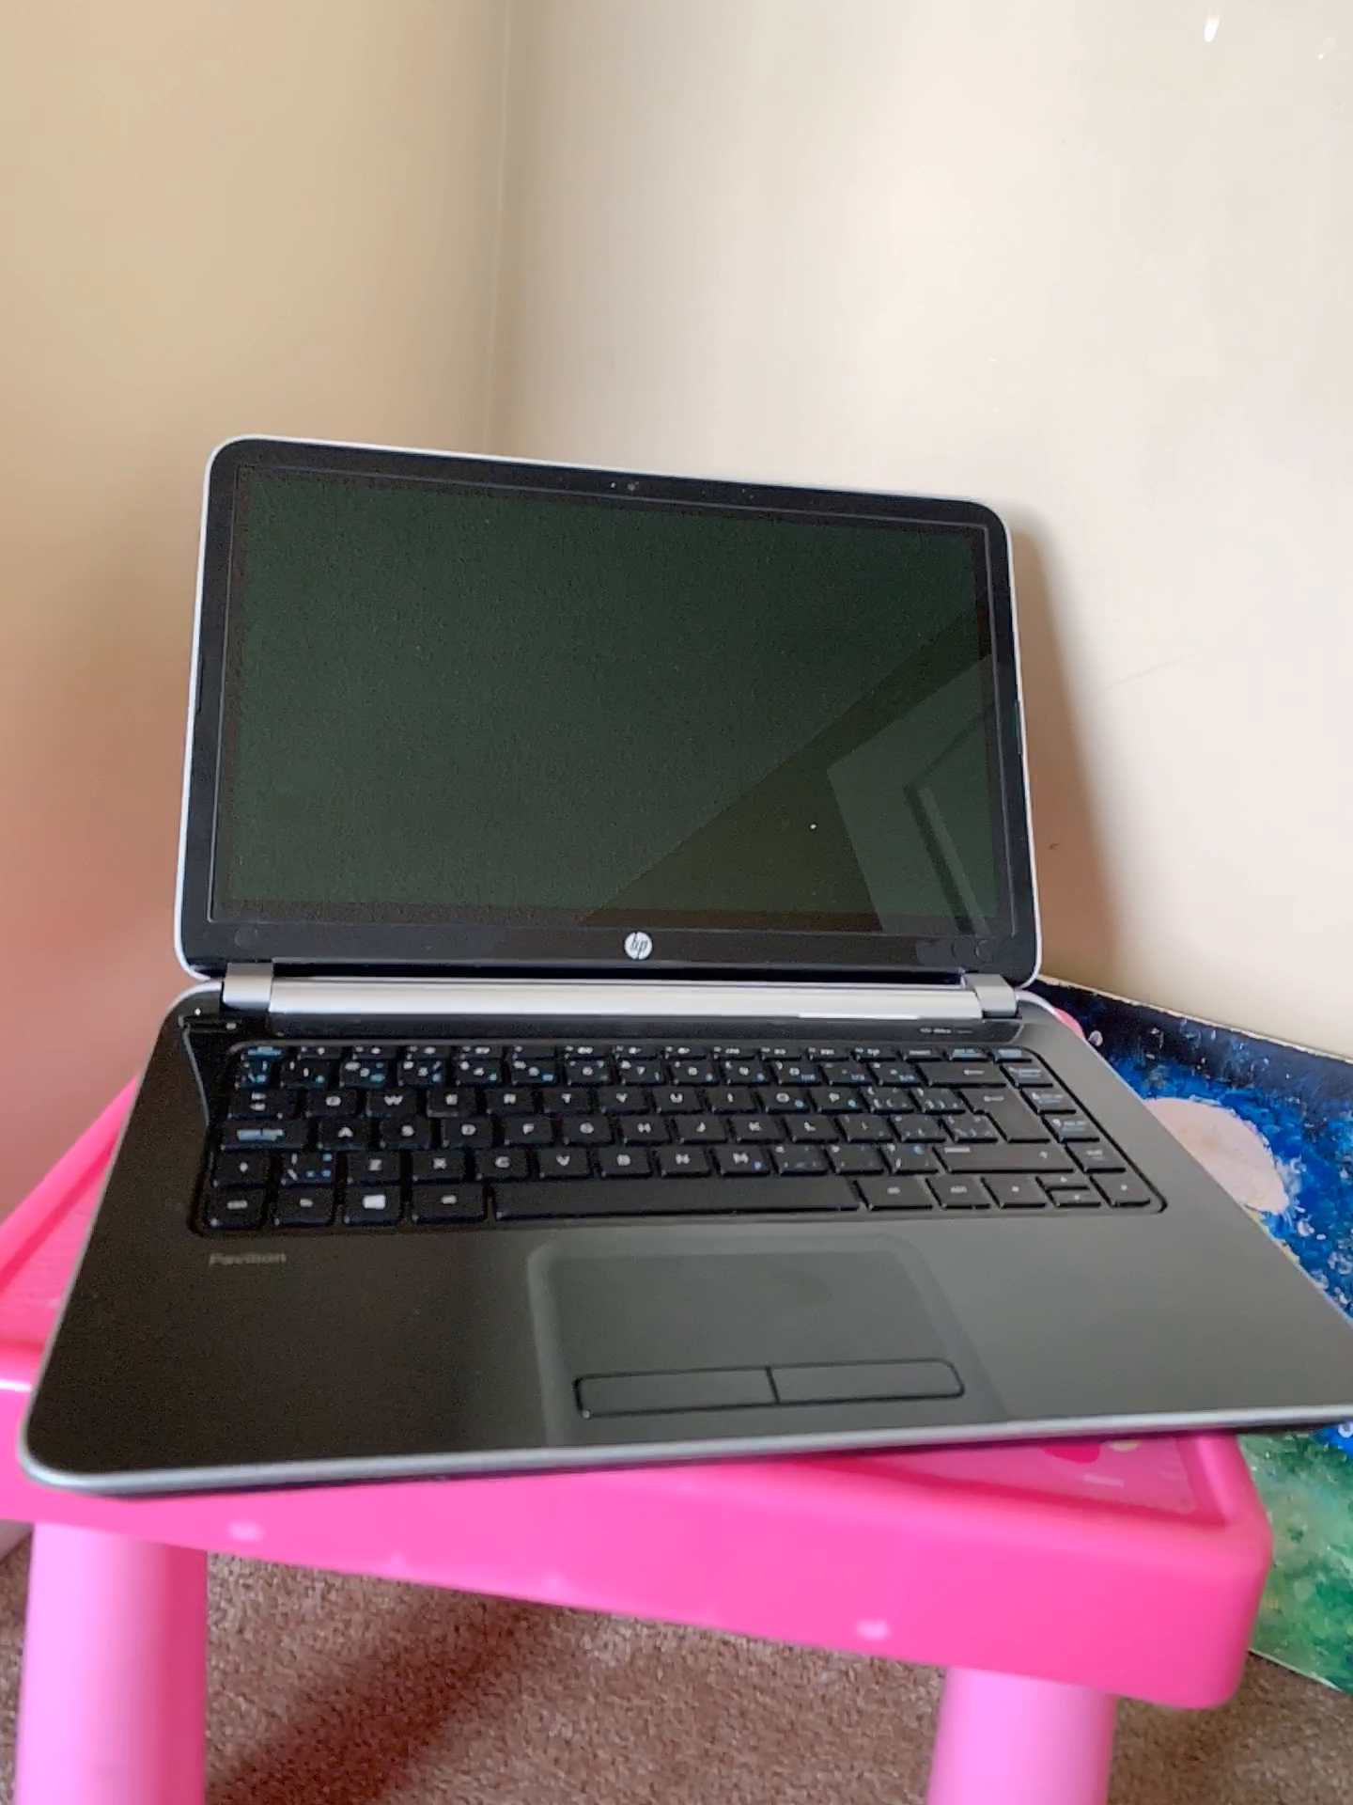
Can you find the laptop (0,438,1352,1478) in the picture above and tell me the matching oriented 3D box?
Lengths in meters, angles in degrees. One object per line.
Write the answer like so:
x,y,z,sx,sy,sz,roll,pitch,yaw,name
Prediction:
-0.002,-0.019,0.386,0.274,0.161,0.272,1,24,-12,laptop
